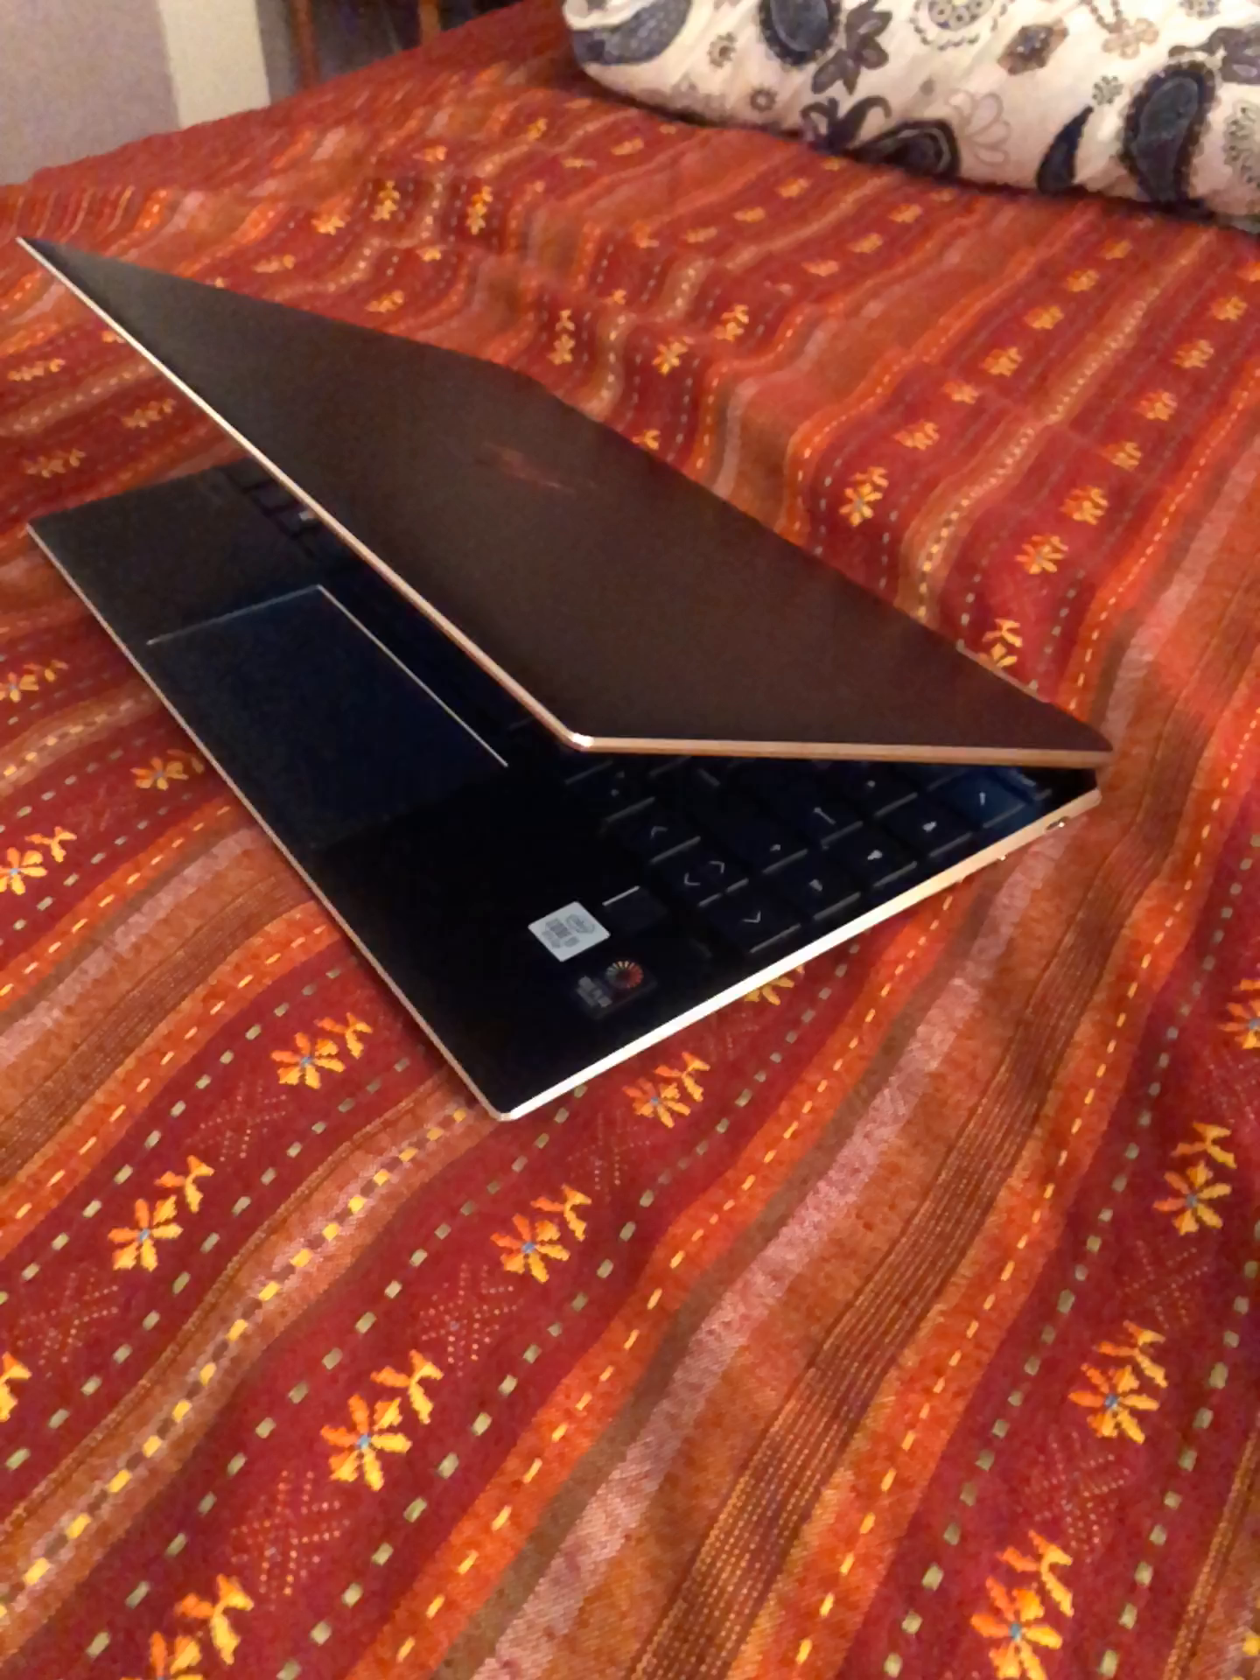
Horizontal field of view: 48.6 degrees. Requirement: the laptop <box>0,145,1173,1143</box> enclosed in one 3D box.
[{"bbox_3d":[-0.041,-0.103,0.402,0.203,0.101,0.326,-23,44,-29],"label":"laptop"}]
